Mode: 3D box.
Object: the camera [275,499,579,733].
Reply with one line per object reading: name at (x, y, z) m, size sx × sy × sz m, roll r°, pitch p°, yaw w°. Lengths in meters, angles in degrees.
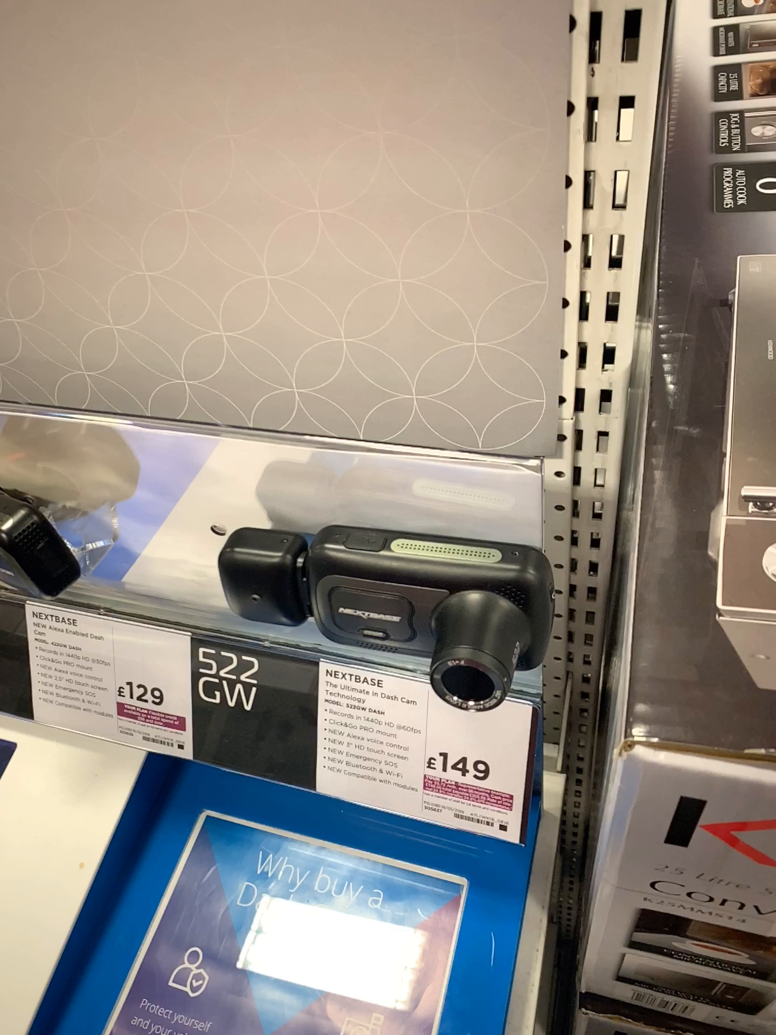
camera at (0.019, 0.035, 0.304) m, size 0.100 × 0.050 × 0.060 m, roll 5°, pitch 45°, yaw 15°
